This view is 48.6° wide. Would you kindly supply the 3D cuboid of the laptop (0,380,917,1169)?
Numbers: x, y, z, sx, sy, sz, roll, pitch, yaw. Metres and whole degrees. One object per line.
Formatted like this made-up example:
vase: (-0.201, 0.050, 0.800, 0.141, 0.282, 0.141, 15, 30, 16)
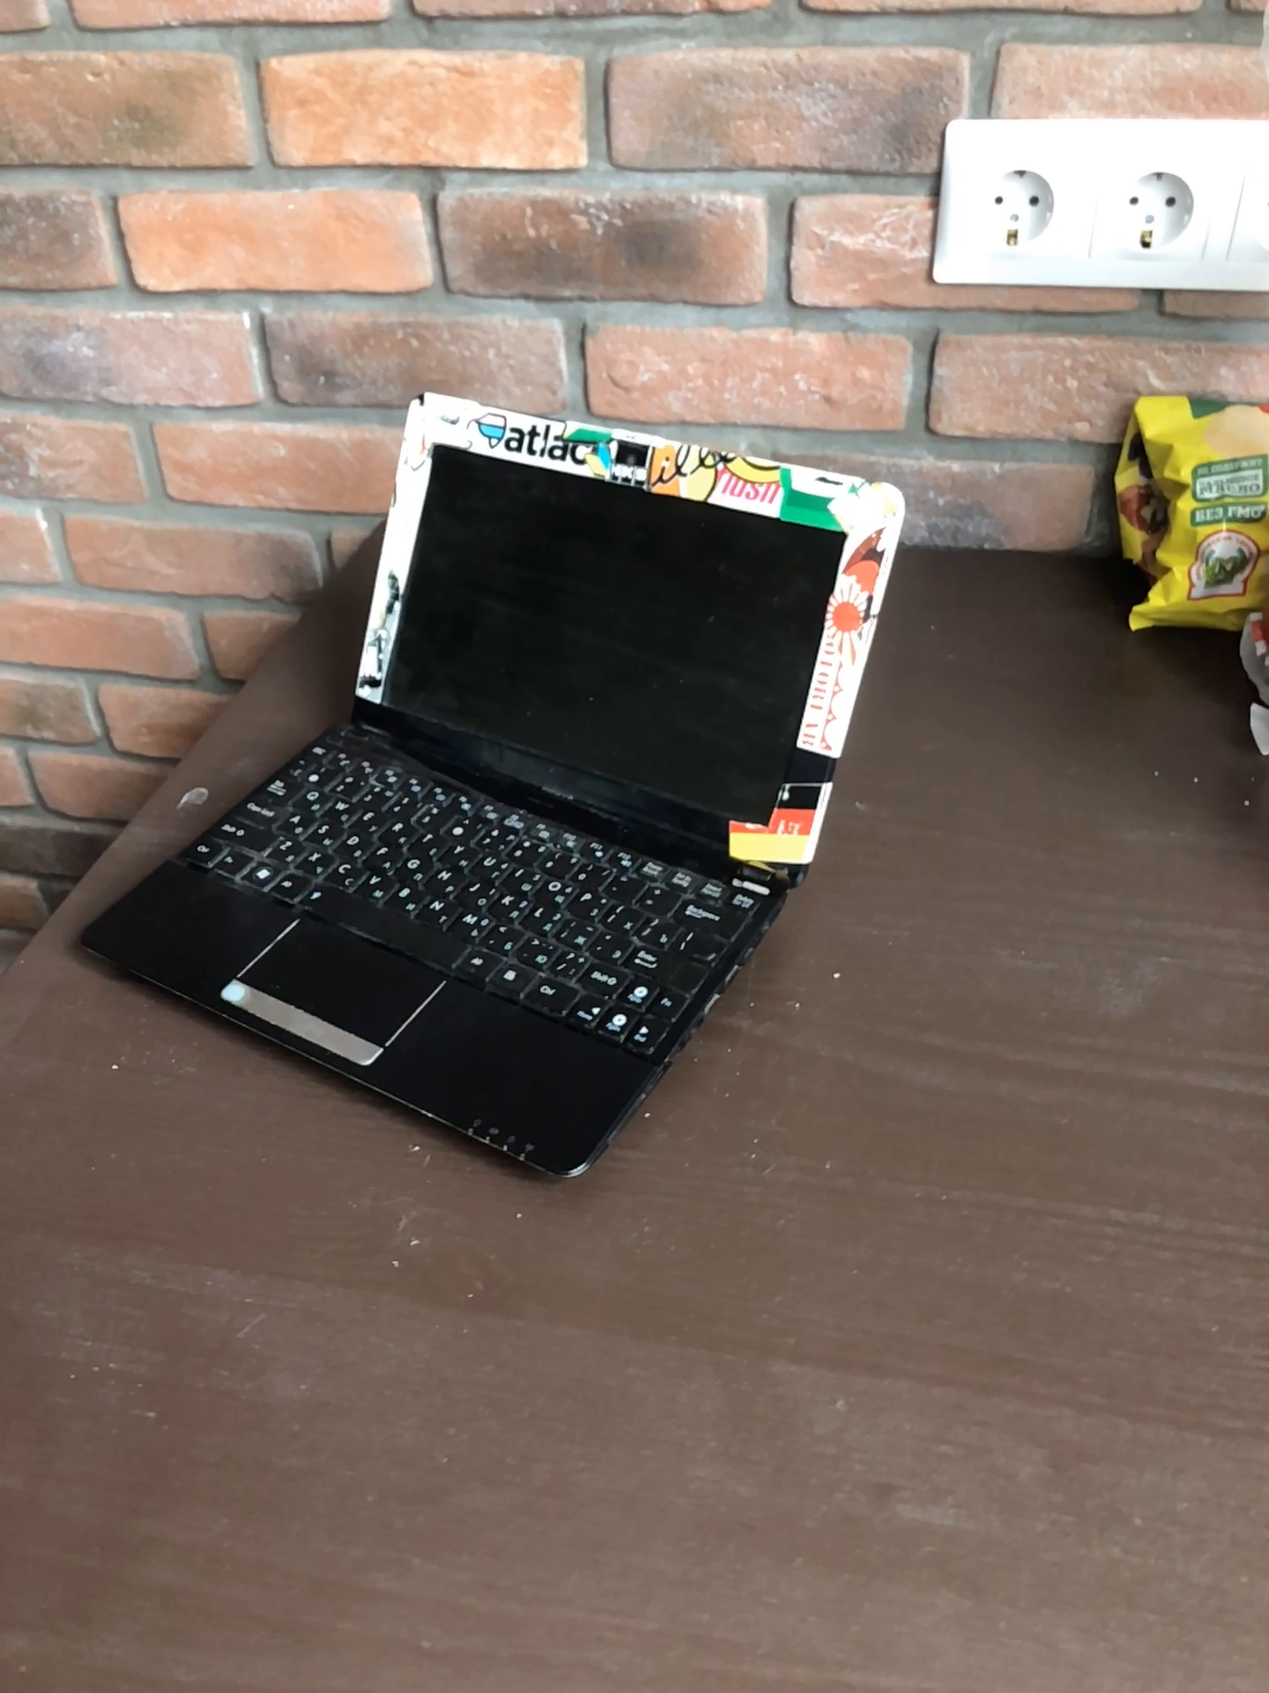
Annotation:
laptop: (-0.066, -0.058, 0.582, 0.257, 0.140, 0.268, 20, 45, 27)
